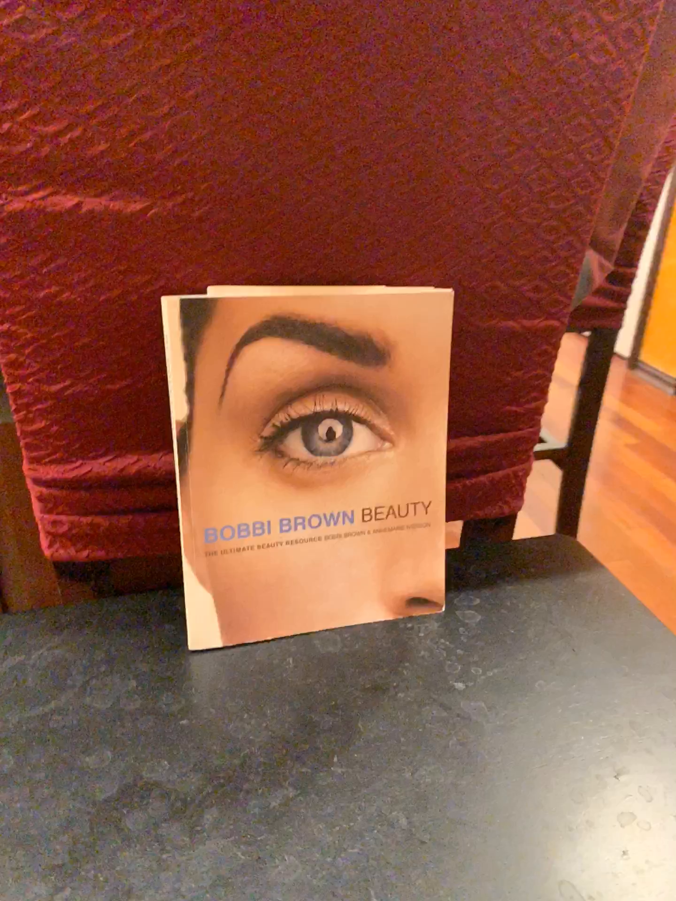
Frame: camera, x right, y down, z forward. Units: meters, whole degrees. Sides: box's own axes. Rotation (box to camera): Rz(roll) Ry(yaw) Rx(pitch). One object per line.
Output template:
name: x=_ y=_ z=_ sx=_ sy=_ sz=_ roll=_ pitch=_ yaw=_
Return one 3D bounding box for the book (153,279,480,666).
book: x=-0.009 y=0.012 z=0.460 sx=0.200 sy=0.239 sz=0.030 roll=-5 pitch=16 yaw=-15
